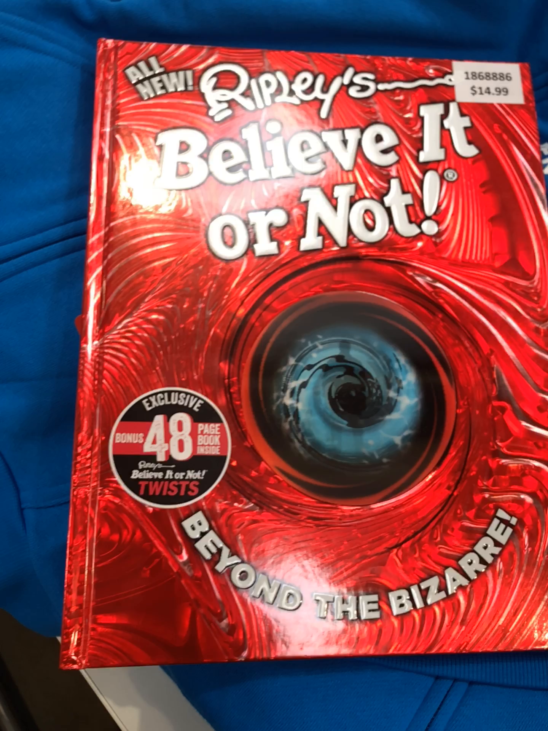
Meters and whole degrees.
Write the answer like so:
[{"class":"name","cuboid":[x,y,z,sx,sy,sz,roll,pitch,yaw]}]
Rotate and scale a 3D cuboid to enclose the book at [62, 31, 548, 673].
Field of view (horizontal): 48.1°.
[{"class":"book","cuboid":[0.033,-0.019,0.307,0.244,0.028,0.303,1,77,-5]}]
